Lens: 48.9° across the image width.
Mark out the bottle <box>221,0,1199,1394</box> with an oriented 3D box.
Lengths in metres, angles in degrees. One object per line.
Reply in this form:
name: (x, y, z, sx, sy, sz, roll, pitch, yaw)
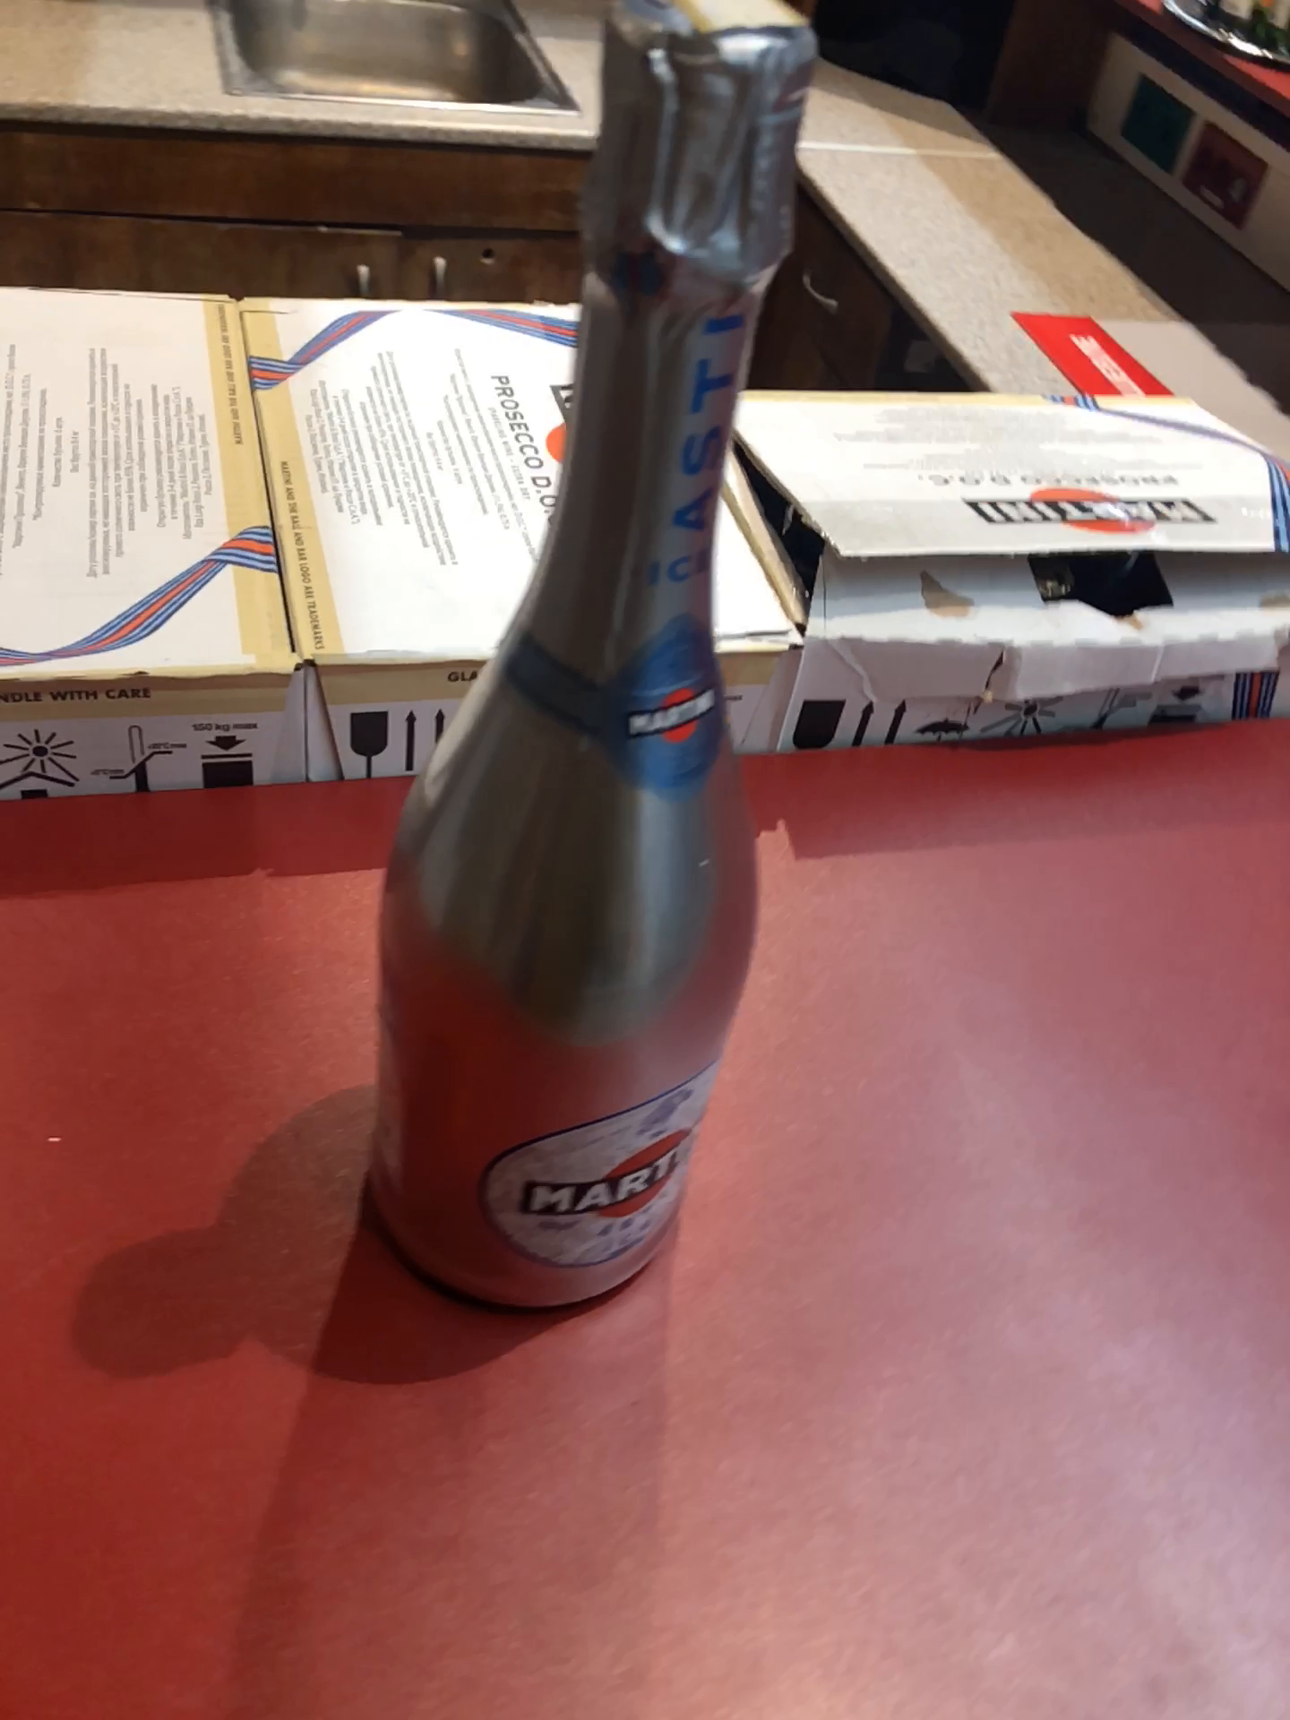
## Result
bottle: (-0.013, -0.019, 0.304, 0.100, 0.298, 0.100, 6, 44, -6)
